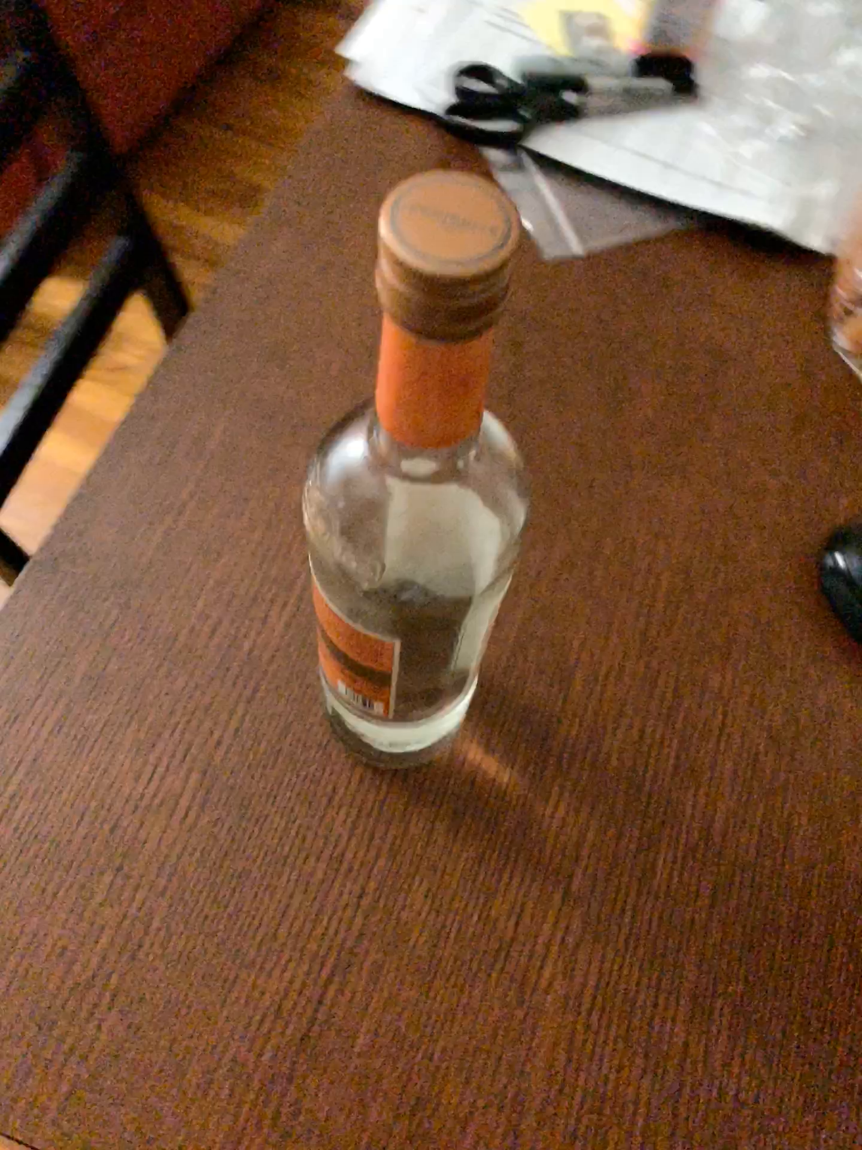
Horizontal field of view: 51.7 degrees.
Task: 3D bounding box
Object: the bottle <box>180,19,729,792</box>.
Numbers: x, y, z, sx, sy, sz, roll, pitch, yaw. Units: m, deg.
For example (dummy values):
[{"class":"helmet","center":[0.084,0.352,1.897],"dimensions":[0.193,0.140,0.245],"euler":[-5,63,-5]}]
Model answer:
[{"class":"bottle","center":[-0.009,-0.013,0.316],"dimensions":[0.080,0.299,0.090],"euler":[-23,68,-15]}]
